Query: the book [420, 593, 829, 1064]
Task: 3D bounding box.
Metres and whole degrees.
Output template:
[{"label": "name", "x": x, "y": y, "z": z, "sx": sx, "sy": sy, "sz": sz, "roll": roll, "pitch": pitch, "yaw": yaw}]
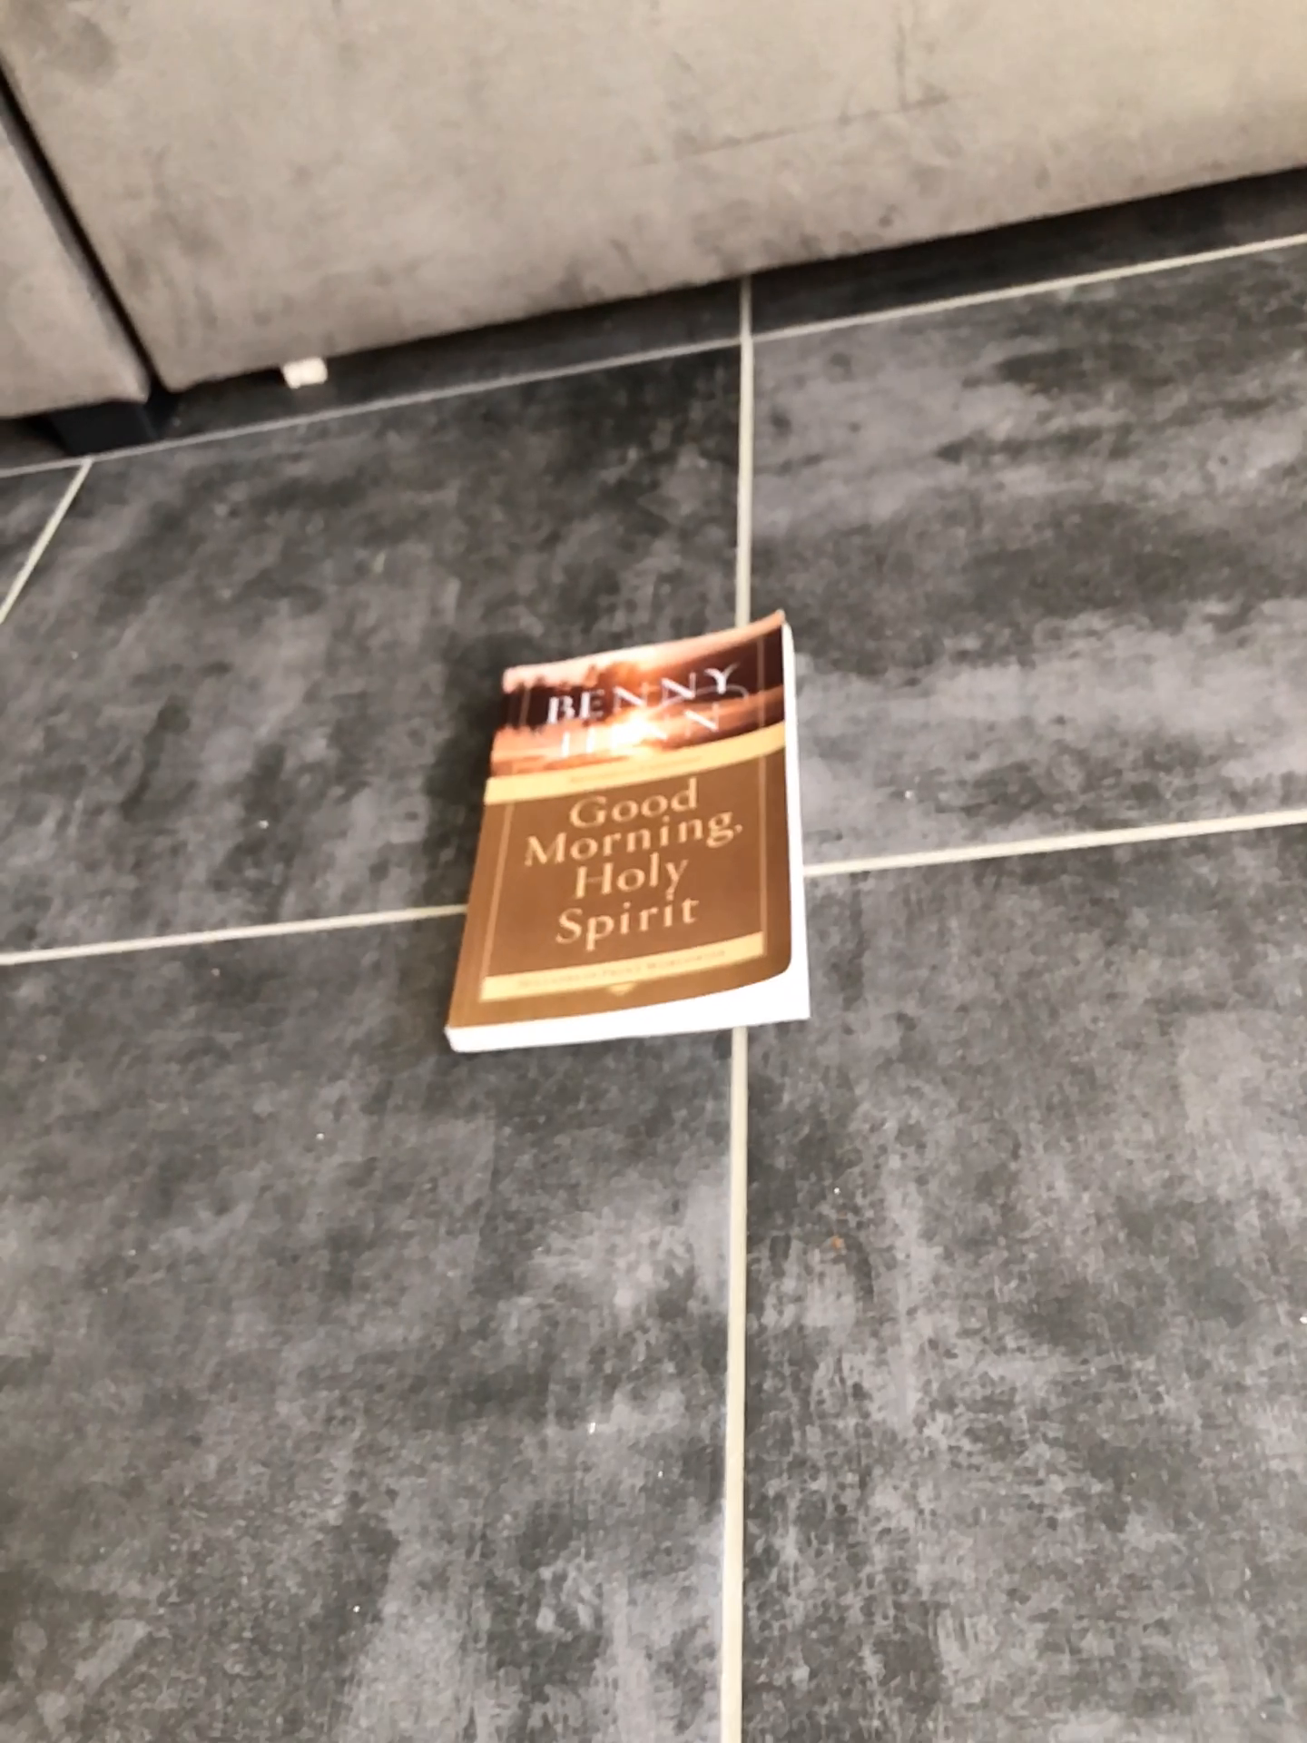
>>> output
[{"label": "book", "x": -0.008, "y": -0.027, "z": 0.611, "sx": 0.150, "sy": 0.020, "sz": 0.231, "roll": -7, "pitch": 46, "yaw": 11}]
